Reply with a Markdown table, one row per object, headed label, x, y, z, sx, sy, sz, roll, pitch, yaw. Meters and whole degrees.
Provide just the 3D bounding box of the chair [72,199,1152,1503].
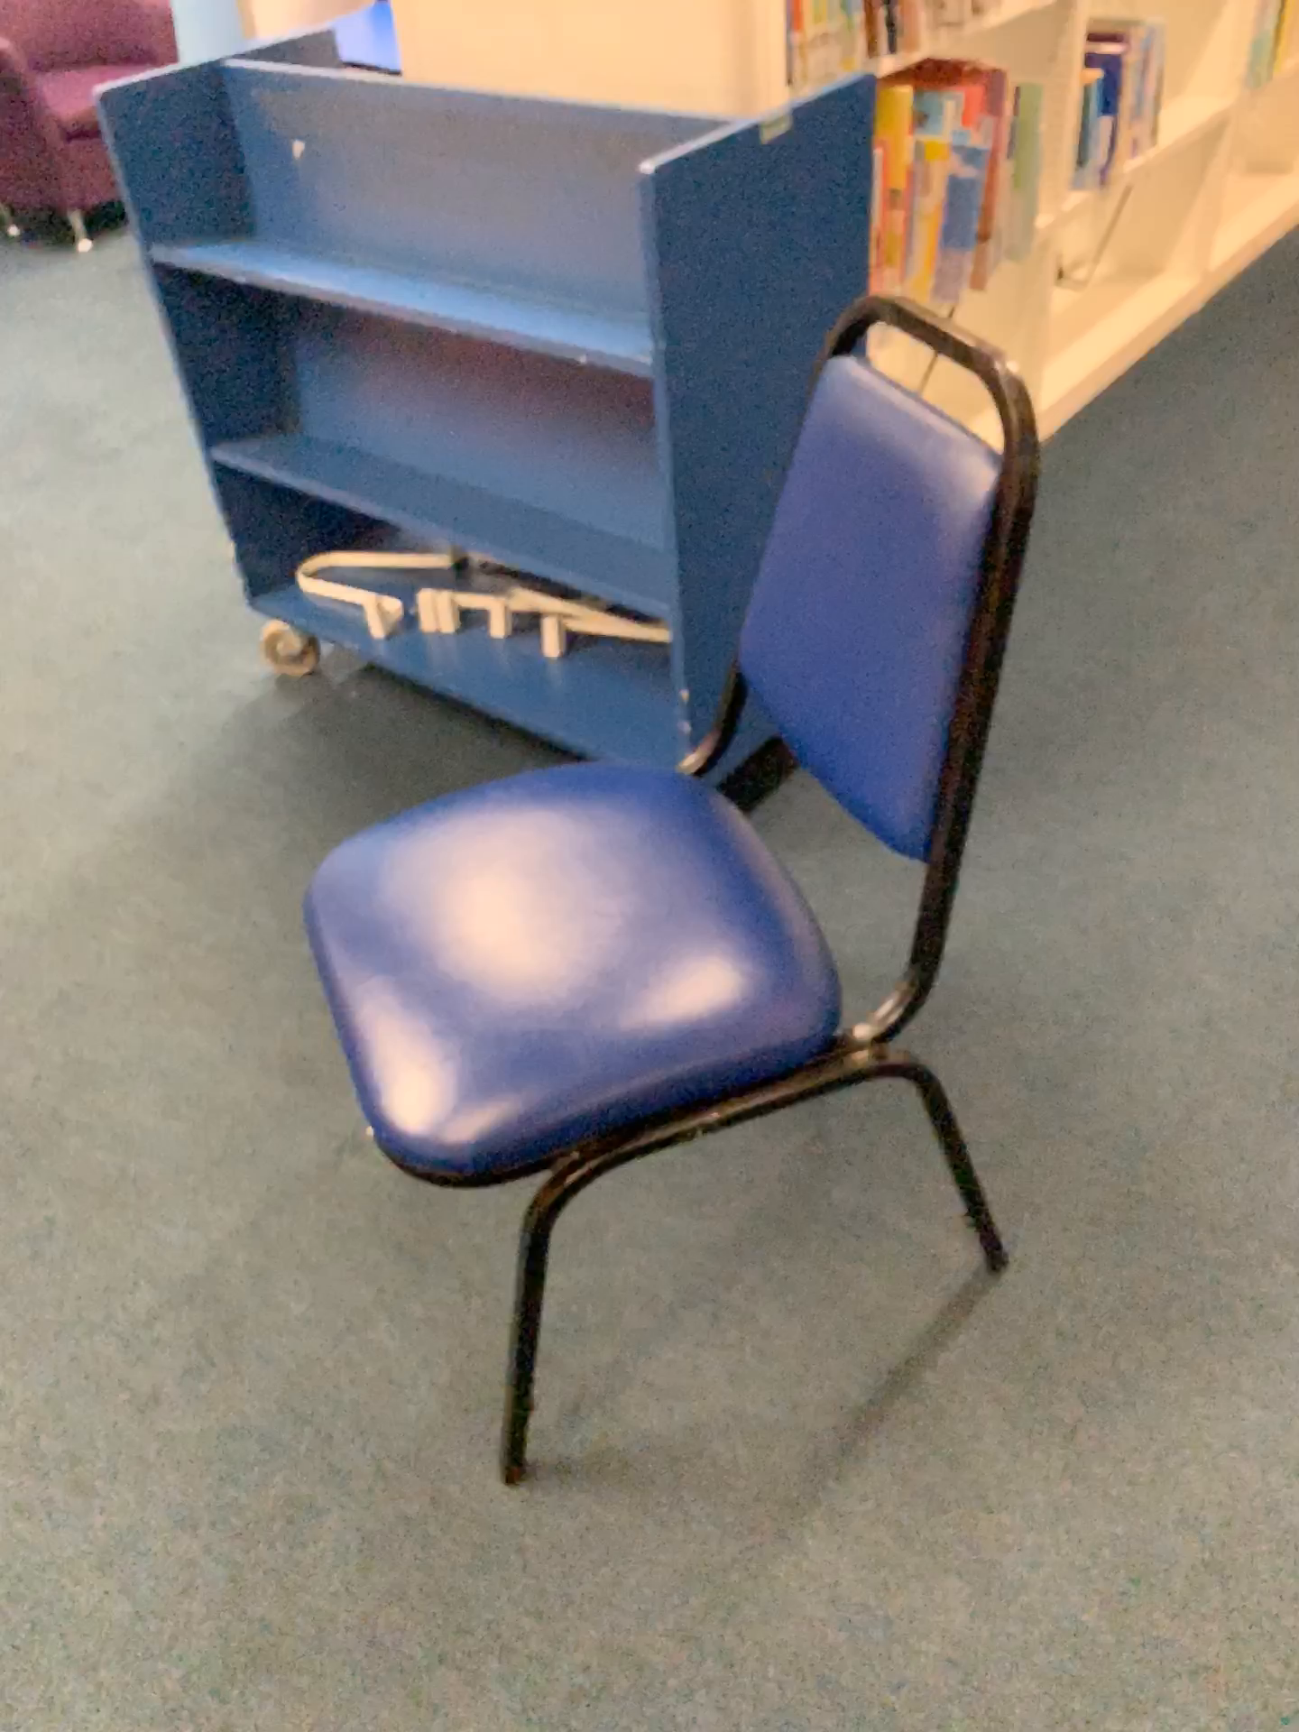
| label | x | y | z | sx | sy | sz | roll | pitch | yaw |
| --- | --- | --- | --- | --- | --- | --- | --- | --- | --- |
| chair | -0.046 | -0.006 | 1.206 | 0.581 | 0.882 | 0.565 | -18 | 42 | -14 |
